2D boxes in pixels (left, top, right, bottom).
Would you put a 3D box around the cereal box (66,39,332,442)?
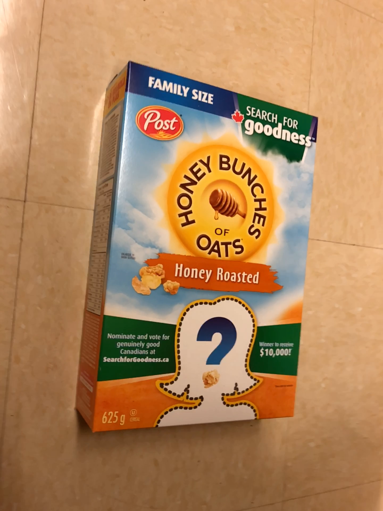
[{"bbox_3d":[0.017,-0.004,0.377,0.211,0.070,0.290,7,82,-26],"label":"cereal box"}]
